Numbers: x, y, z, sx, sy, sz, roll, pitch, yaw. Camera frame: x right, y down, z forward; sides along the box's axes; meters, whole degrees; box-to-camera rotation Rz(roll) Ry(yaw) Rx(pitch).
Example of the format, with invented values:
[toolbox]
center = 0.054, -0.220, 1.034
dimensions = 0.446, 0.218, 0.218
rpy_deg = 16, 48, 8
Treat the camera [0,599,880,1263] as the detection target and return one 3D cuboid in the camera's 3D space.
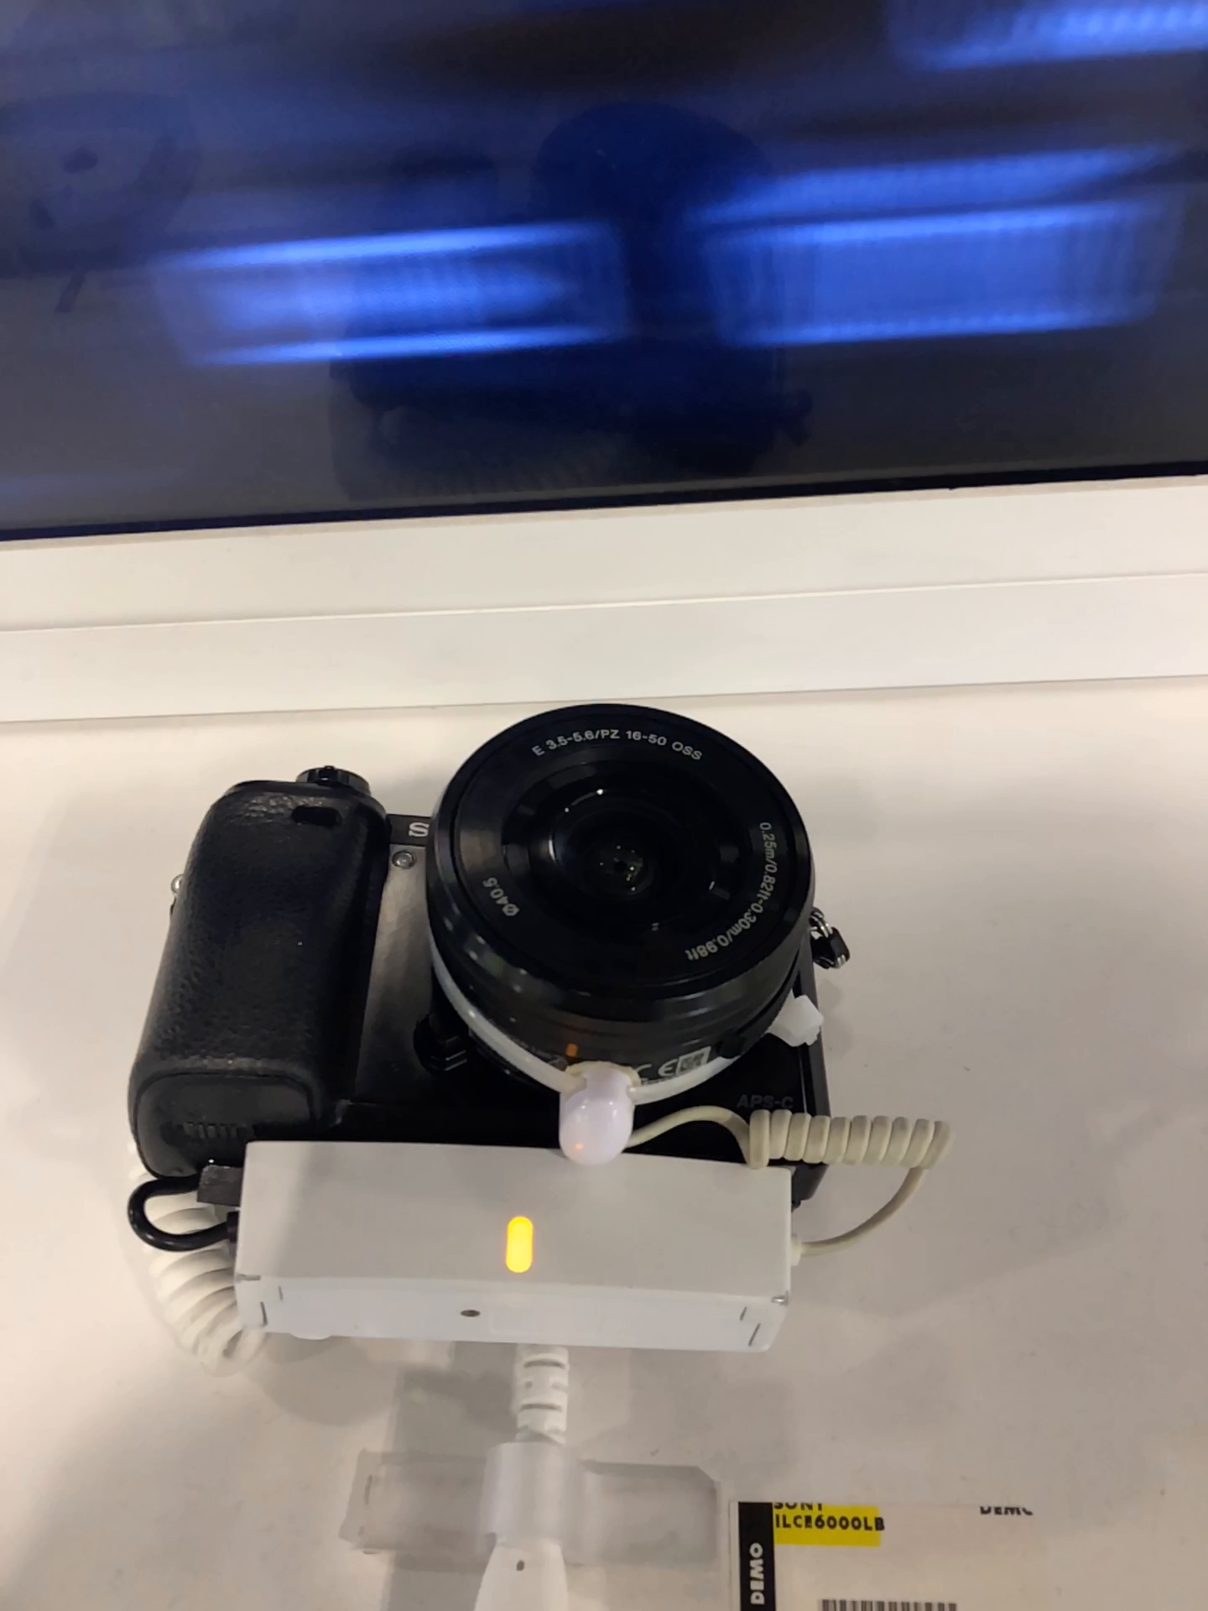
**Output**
[camera]
center = -0.026, 0.023, 0.244
dimensions = 0.130, 0.070, 0.090
rpy_deg = 3, 51, -1
